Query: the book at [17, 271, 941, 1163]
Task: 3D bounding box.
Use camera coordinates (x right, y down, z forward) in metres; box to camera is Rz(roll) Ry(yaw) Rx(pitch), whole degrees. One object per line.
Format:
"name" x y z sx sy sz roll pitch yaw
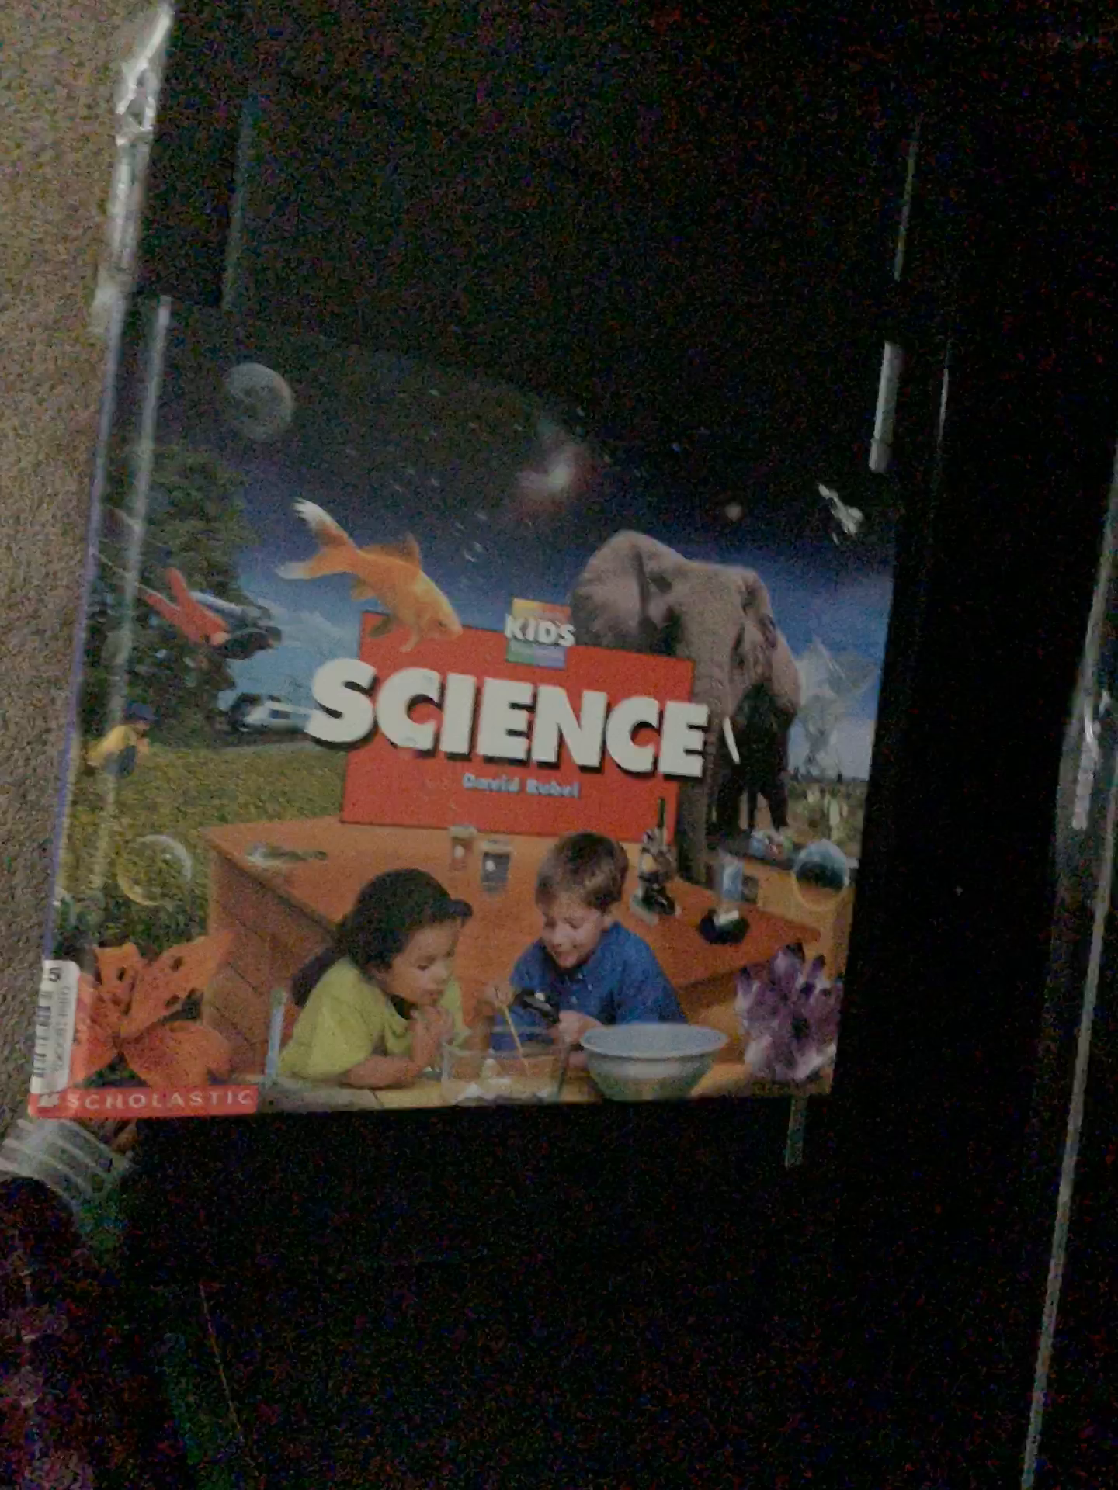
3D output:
"book" -0.010 0.007 0.377 0.280 0.030 0.240 6 92 -24
